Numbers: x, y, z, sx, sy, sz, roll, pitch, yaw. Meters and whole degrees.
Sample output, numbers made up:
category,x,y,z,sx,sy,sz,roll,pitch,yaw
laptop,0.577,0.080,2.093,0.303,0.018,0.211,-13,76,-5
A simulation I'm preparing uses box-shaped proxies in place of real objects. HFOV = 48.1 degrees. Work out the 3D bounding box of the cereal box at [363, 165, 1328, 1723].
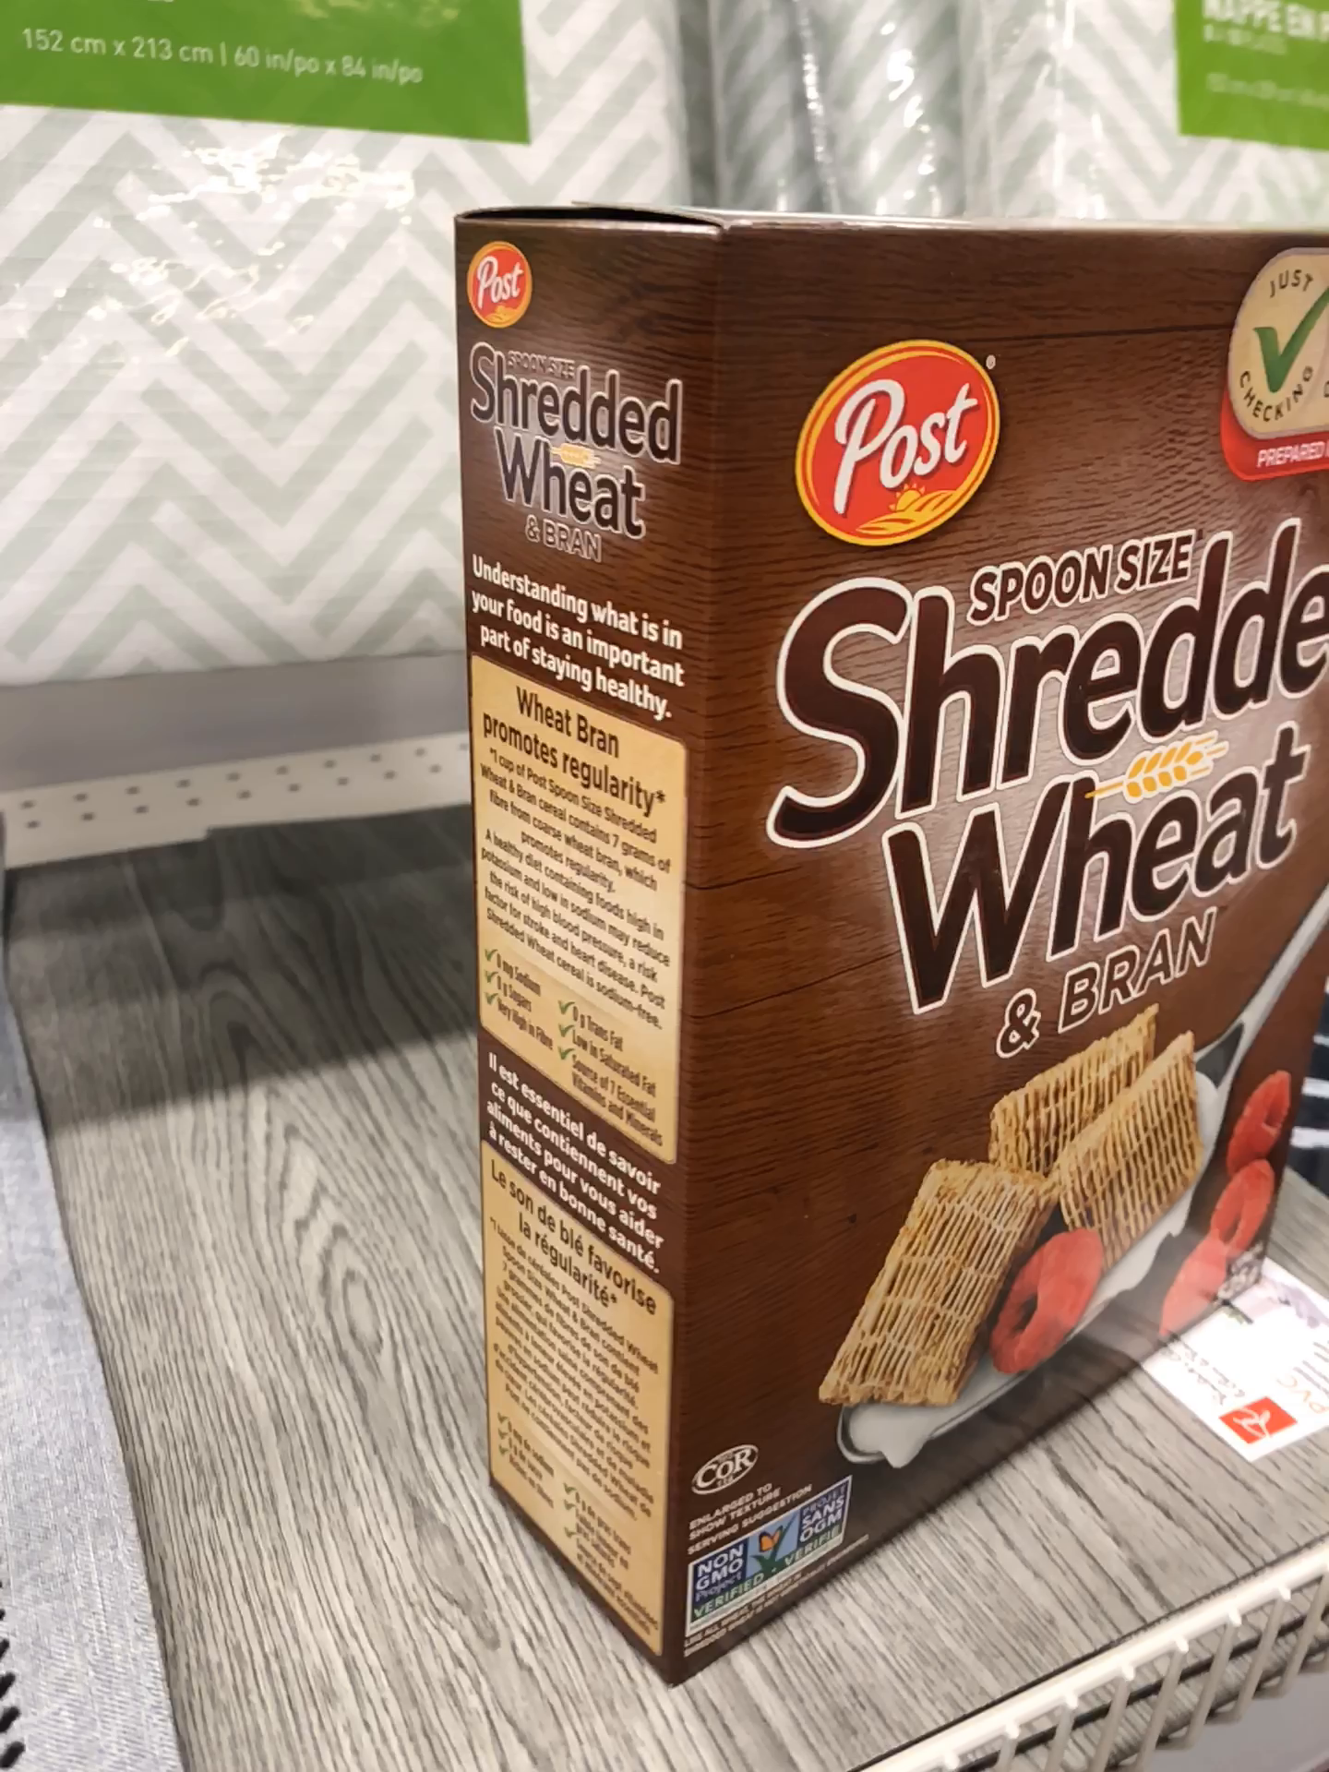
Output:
category,x,y,z,sx,sy,sz,roll,pitch,yaw
cereal box,0.049,0.002,0.306,0.200,0.259,0.070,-16,30,-36
